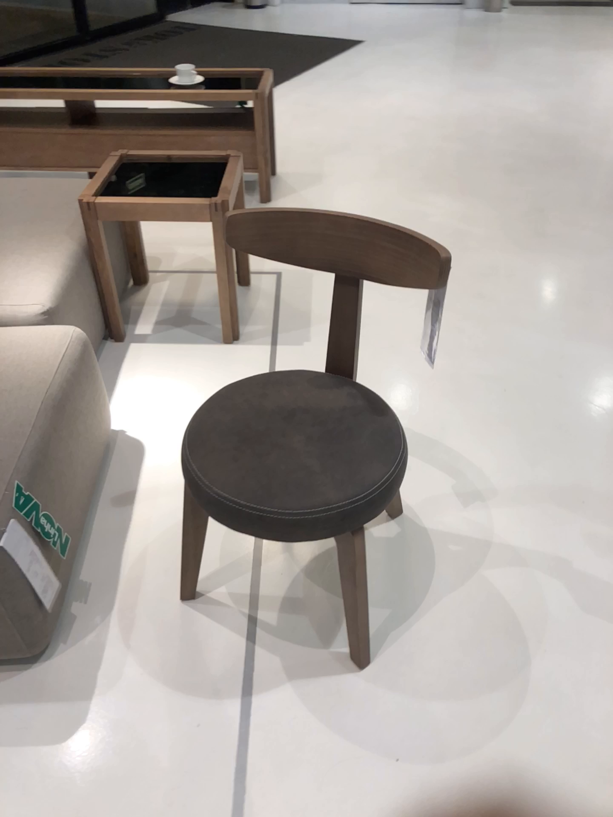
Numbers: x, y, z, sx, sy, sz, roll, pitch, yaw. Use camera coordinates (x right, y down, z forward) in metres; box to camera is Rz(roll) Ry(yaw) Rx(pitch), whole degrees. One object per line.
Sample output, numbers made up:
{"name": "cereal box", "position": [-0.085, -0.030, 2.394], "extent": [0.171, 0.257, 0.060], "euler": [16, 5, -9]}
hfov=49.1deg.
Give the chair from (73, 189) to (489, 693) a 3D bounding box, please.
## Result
{"name": "chair", "position": [-0.005, 0.047, 1.307], "extent": [0.501, 0.705, 0.523], "euler": [15, 41, 18]}
